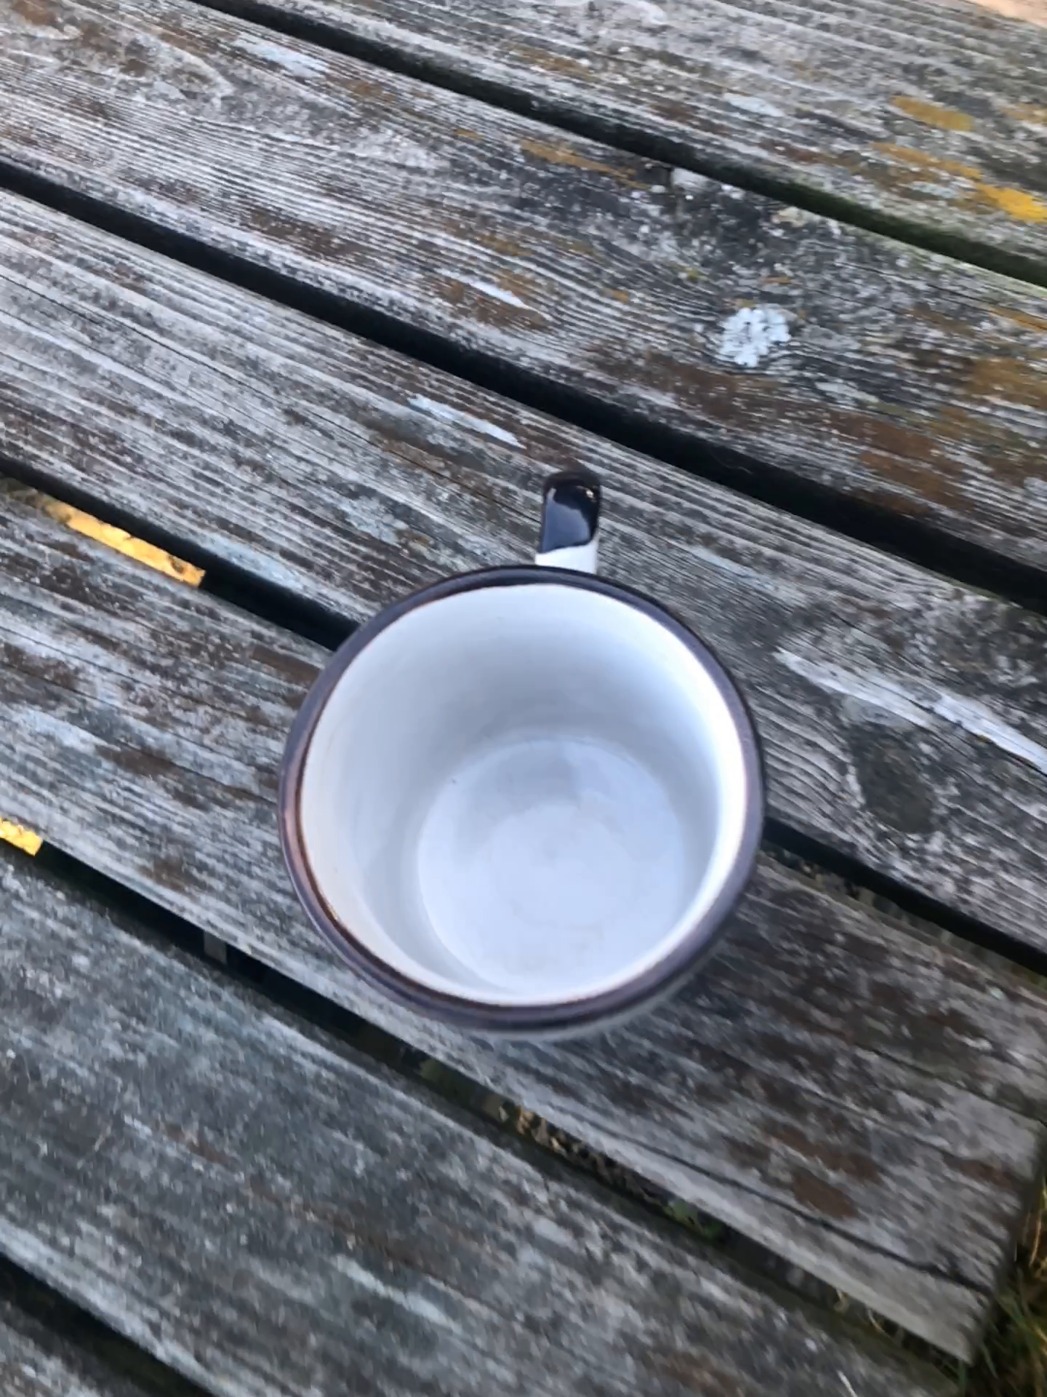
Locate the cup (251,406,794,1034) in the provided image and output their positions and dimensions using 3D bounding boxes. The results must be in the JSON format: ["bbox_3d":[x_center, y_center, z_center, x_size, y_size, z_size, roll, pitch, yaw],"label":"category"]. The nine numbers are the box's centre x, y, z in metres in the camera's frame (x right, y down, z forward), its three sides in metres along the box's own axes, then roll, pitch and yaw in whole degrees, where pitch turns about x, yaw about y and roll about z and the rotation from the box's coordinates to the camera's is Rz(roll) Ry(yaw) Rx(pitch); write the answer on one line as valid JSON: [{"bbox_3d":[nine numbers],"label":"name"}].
[{"bbox_3d":[0.007,0.008,0.243,0.086,0.078,0.108,4,73,9],"label":"cup"}]
